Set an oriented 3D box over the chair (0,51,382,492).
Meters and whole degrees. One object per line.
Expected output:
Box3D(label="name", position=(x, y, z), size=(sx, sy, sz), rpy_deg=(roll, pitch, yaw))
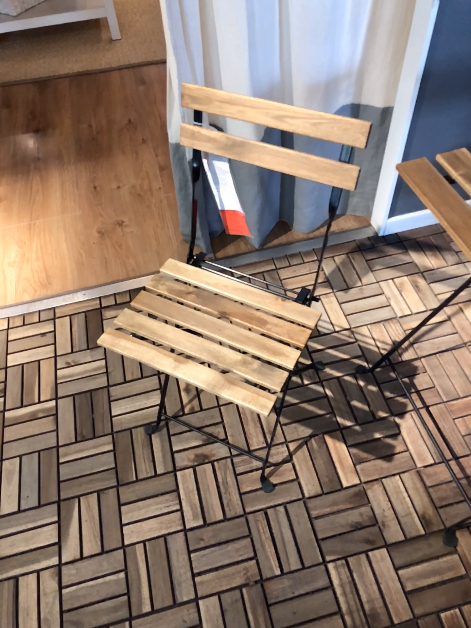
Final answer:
Box3D(label="chair", position=(-0.042, -0.037, 1.056), size=(0.431, 0.726, 0.432), rpy_deg=(21, 57, 17))
